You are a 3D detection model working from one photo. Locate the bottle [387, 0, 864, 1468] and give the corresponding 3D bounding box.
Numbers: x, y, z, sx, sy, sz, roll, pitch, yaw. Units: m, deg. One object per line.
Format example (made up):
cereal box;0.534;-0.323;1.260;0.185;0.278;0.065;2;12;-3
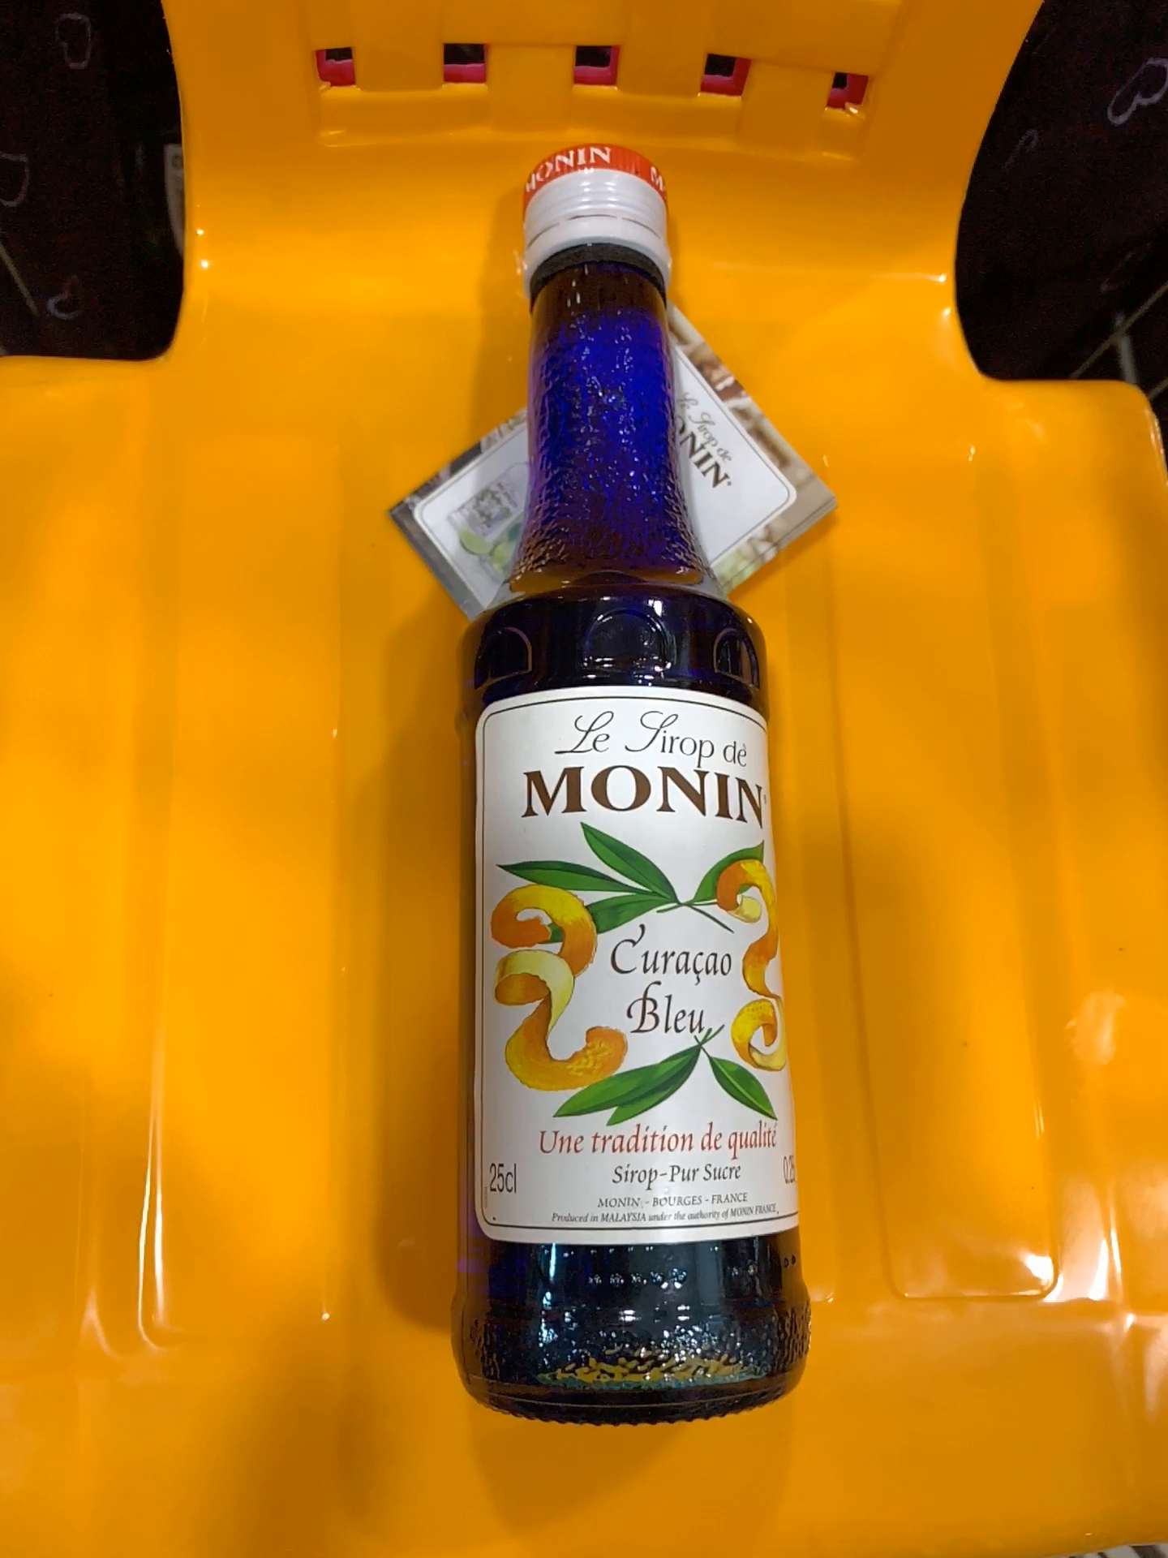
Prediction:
bottle;0.002;-0.016;0.205;0.060;0.050;0.220;2;76;-12
